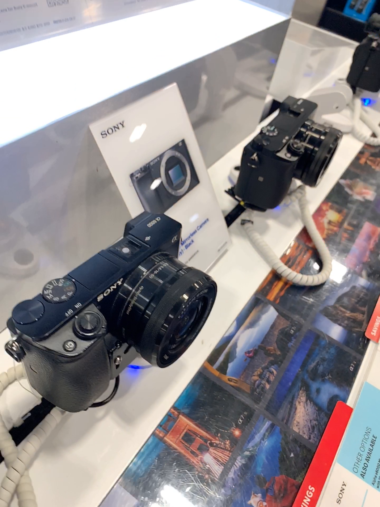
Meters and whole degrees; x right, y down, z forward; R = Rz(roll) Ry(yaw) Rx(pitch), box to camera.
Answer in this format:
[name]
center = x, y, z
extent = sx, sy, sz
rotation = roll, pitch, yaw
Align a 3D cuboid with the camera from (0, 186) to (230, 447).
[camera]
center = -0.039, 0.029, 0.235
extent = 0.065, 0.074, 0.120
rotation = 28, 47, 23
